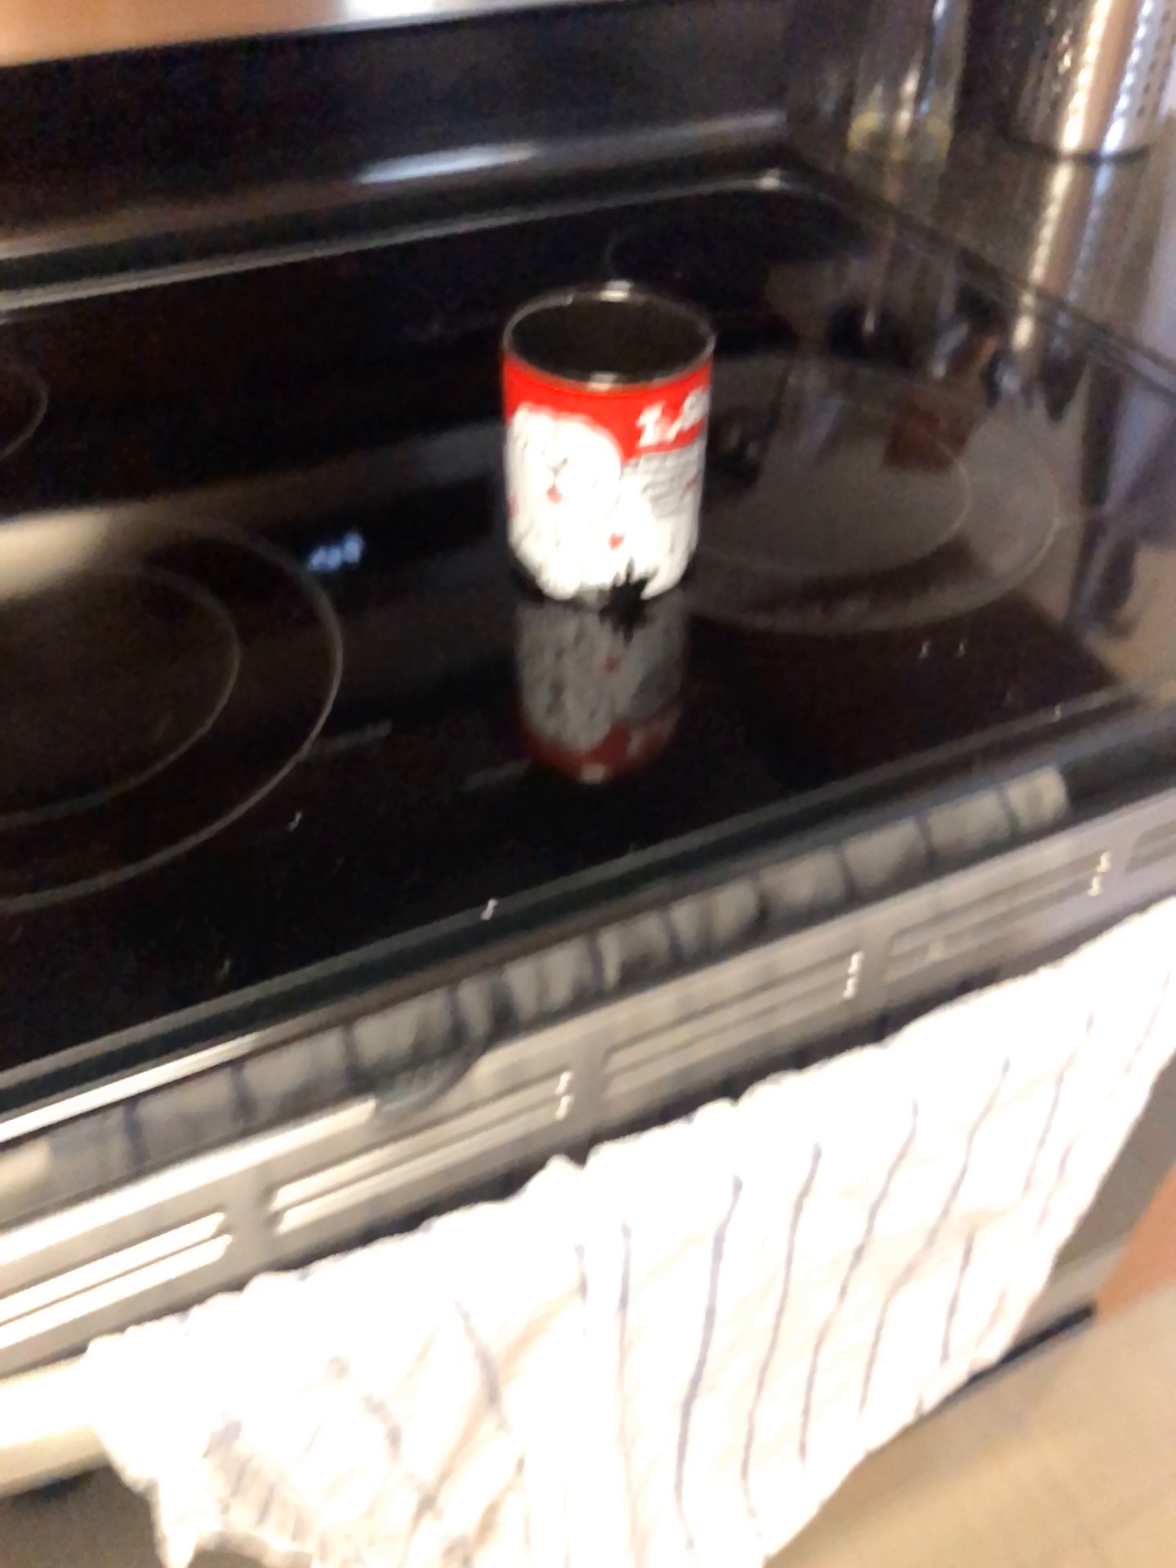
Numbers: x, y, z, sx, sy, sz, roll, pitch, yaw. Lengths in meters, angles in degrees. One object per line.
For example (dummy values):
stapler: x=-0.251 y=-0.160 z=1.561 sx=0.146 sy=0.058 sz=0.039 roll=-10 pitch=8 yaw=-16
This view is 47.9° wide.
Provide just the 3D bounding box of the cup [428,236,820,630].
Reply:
cup: x=0.016 y=-0.146 z=0.535 sx=0.090 sy=0.090 sz=0.130 roll=28 pitch=49 yaw=26
